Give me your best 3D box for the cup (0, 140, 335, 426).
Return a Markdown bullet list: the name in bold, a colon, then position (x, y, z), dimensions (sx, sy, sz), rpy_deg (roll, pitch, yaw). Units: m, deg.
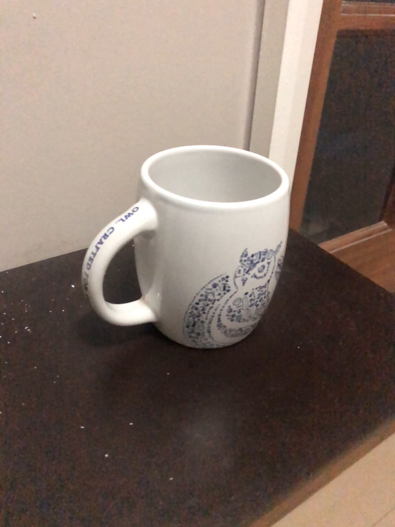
- **cup**: position (-0.018, -0.005, 0.233), dimensions (0.130, 0.079, 0.100), rpy_deg (-17, 37, -28)
